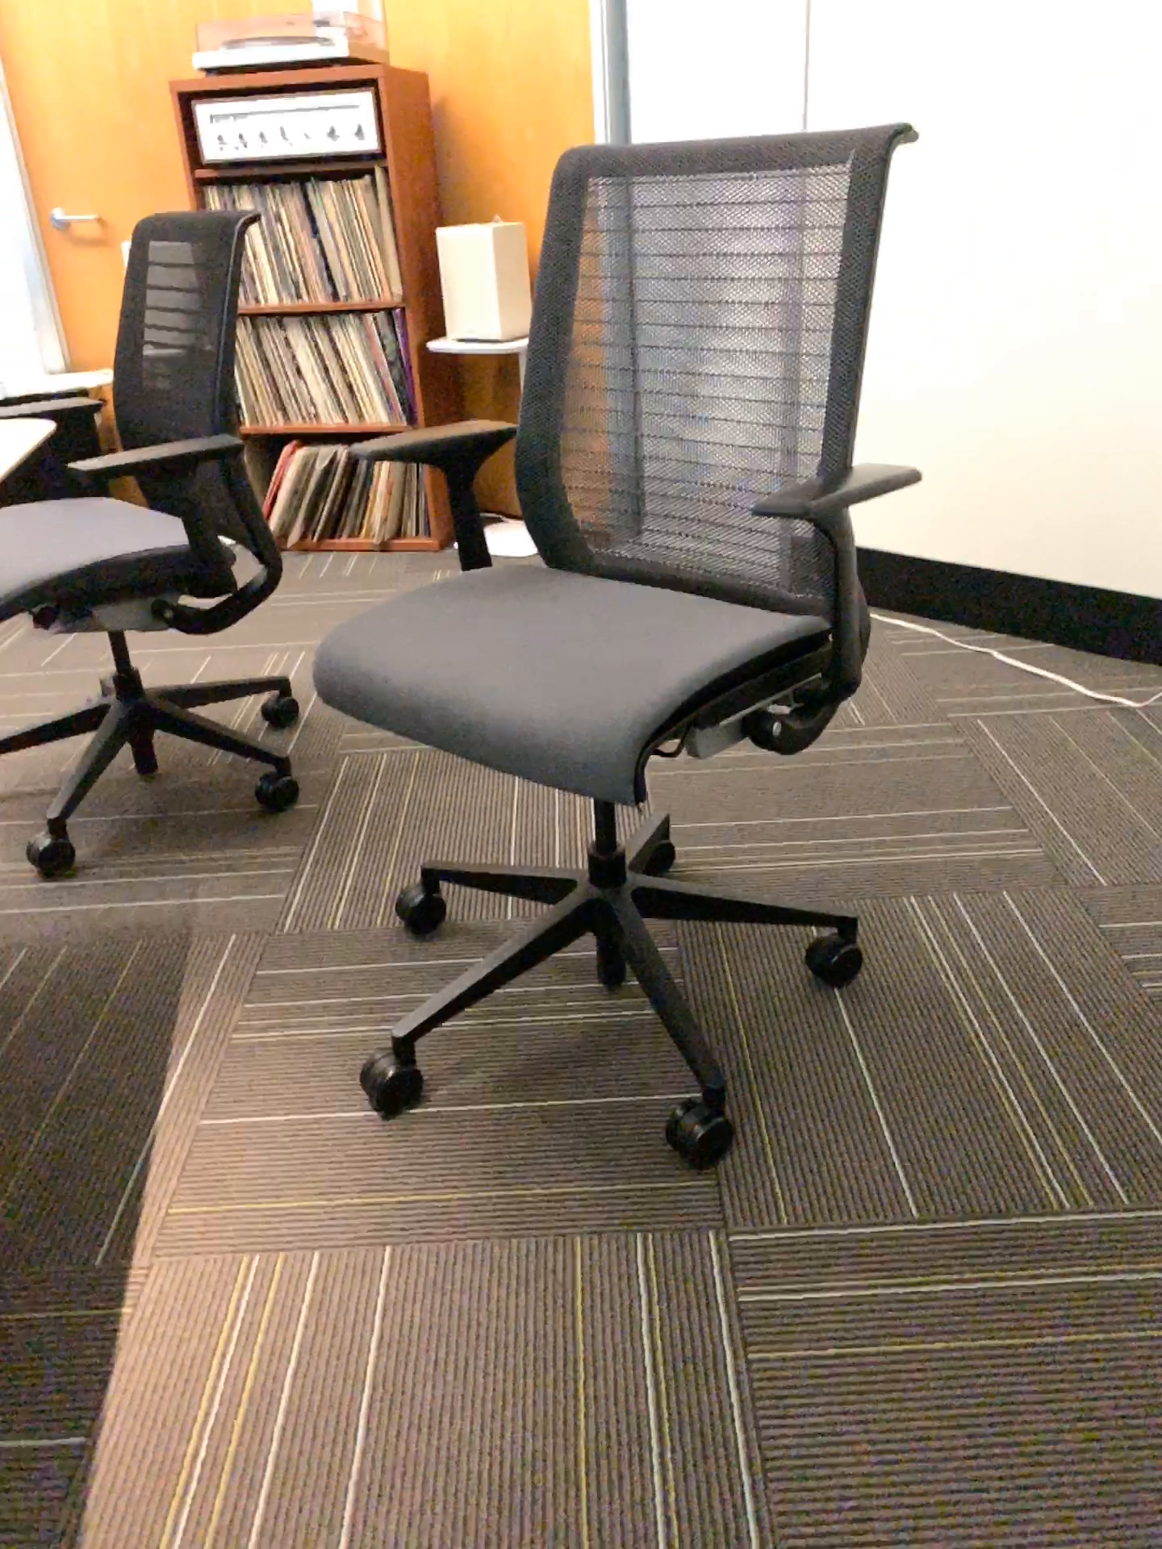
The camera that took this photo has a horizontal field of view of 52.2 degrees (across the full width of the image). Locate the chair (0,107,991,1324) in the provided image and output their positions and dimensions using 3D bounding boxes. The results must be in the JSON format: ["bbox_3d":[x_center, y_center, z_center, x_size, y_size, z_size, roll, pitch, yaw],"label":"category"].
[{"bbox_3d":[-0.071,-0.171,1.494,0.793,1.114,0.802,16,33,33],"label":"chair"}]
